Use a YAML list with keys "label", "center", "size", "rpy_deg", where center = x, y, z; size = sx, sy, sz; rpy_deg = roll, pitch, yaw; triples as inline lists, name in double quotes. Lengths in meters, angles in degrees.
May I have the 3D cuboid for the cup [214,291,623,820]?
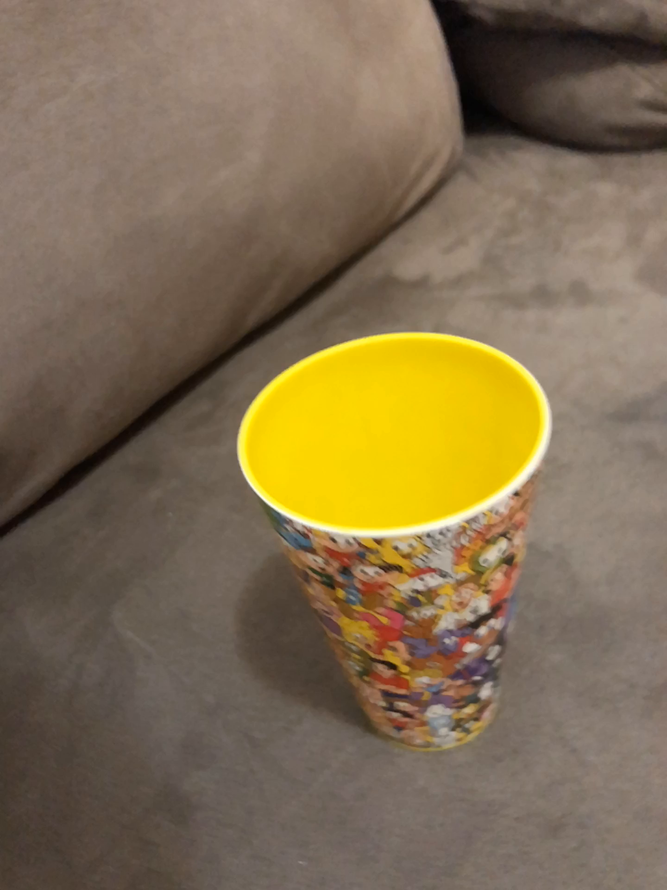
- label: "cup"
  center: [0.030, 0.040, 0.263]
  size: [0.090, 0.139, 0.091]
  rpy_deg: [-8, 40, 7]
